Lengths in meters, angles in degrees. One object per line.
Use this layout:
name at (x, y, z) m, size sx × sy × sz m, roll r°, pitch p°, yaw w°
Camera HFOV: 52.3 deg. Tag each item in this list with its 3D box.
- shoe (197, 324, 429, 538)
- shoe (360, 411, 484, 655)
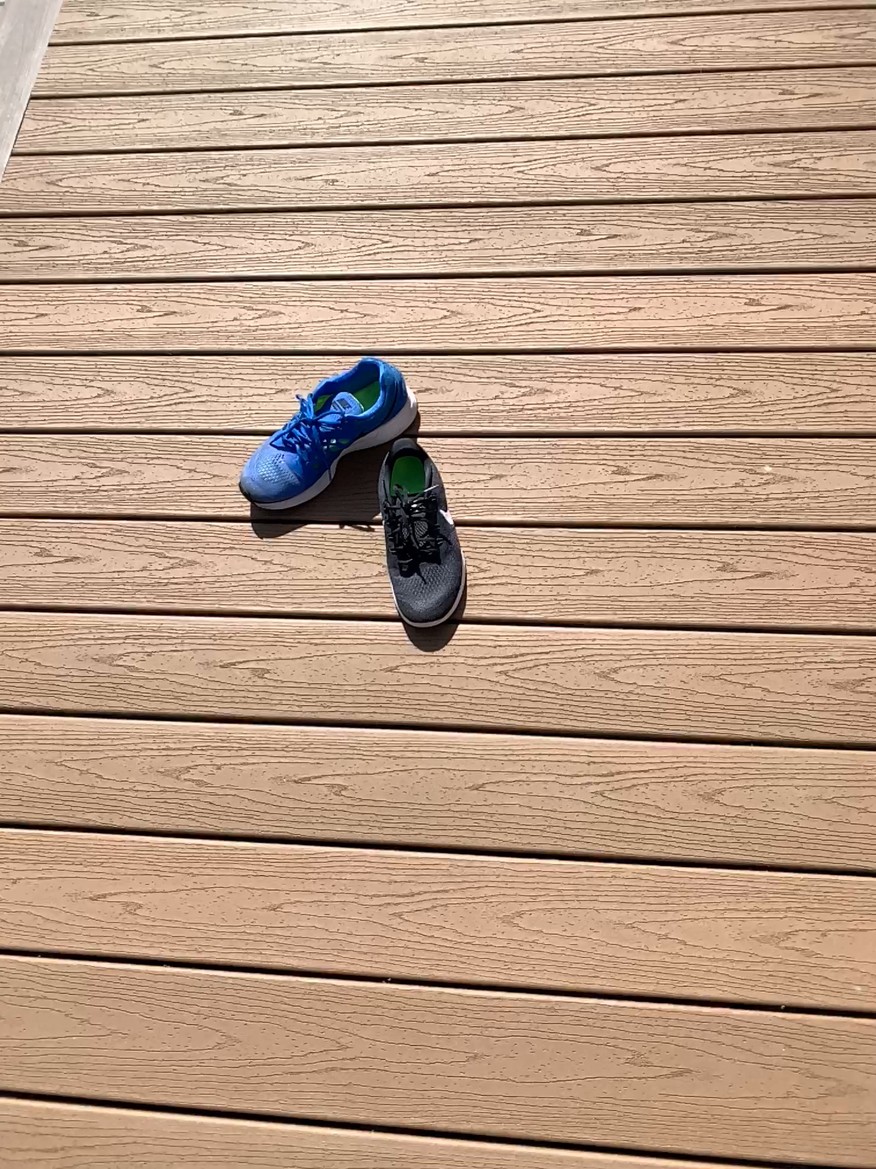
shoe at (-0.172, -0.219, 1.284) m, size 0.290 × 0.130 × 0.120 m, roll -35°, pitch 67°, yaw -9°
shoe at (-0.022, -0.069, 1.186) m, size 0.120 × 0.110 × 0.291 m, roll -9°, pitch 65°, yaw 2°
